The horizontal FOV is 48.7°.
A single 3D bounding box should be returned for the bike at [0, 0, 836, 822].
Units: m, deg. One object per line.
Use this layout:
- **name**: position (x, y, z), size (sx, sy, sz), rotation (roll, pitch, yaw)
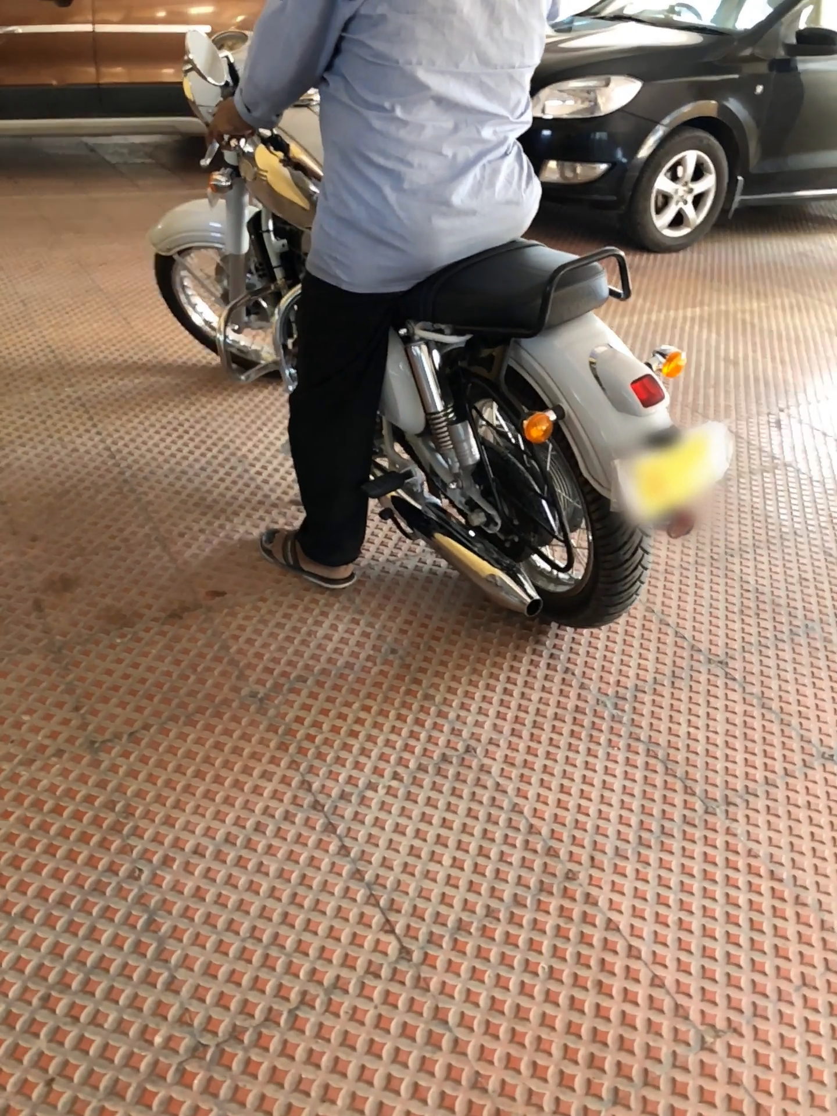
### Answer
- **bike**: position (-0.323, -0.630, 2.011), size (0.848, 1.233, 1.901), rotation (-21, 42, -34)
